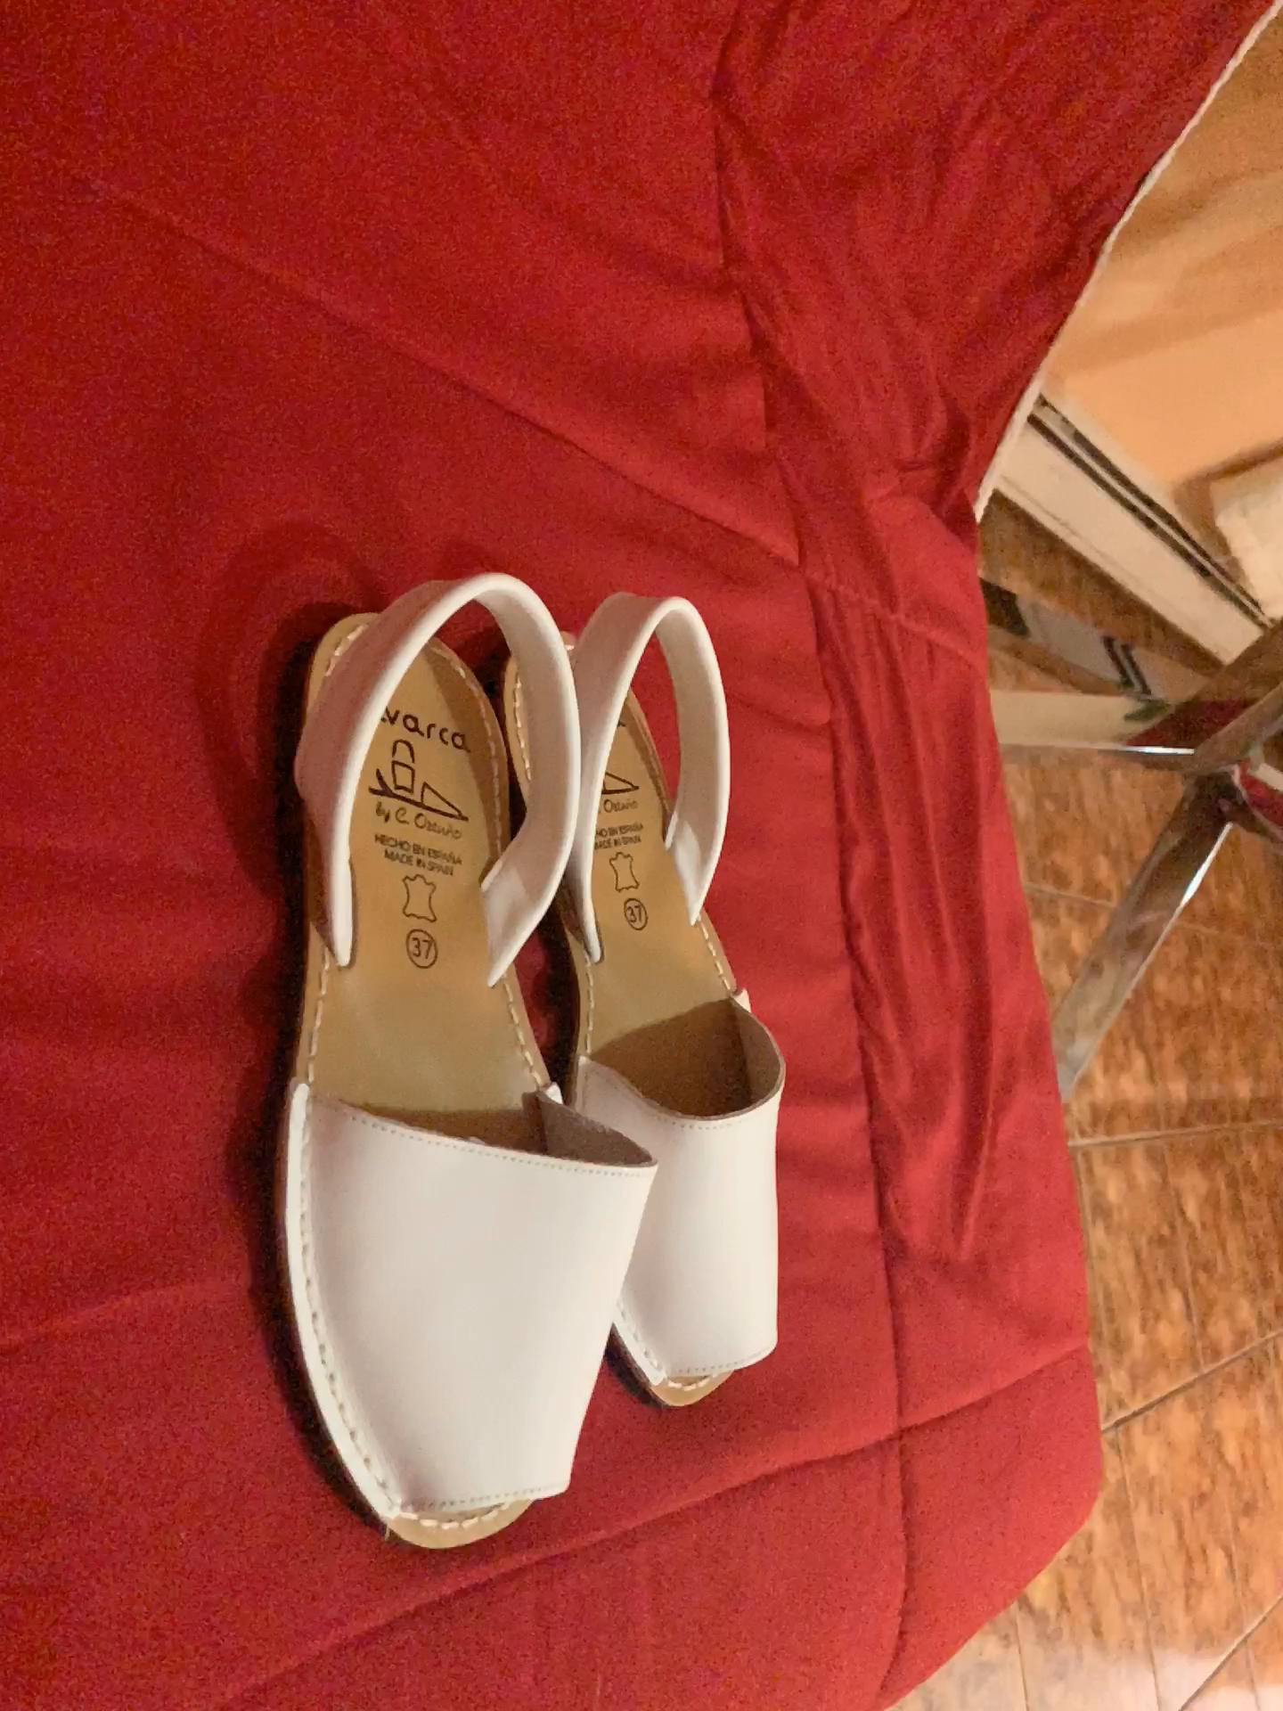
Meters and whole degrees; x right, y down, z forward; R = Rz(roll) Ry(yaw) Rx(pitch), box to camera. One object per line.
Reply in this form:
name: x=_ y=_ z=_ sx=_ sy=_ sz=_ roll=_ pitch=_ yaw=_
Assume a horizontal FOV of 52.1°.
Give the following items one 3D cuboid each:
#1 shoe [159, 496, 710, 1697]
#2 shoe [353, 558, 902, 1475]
shoe: x=-0.053 y=0.050 z=0.334 sx=0.108 sy=0.063 sz=0.247 roll=9 pitch=71 yaw=-50
shoe: x=0.000 y=0.042 z=0.407 sx=0.104 sy=0.063 sz=0.249 roll=-12 pitch=87 yaw=-53
